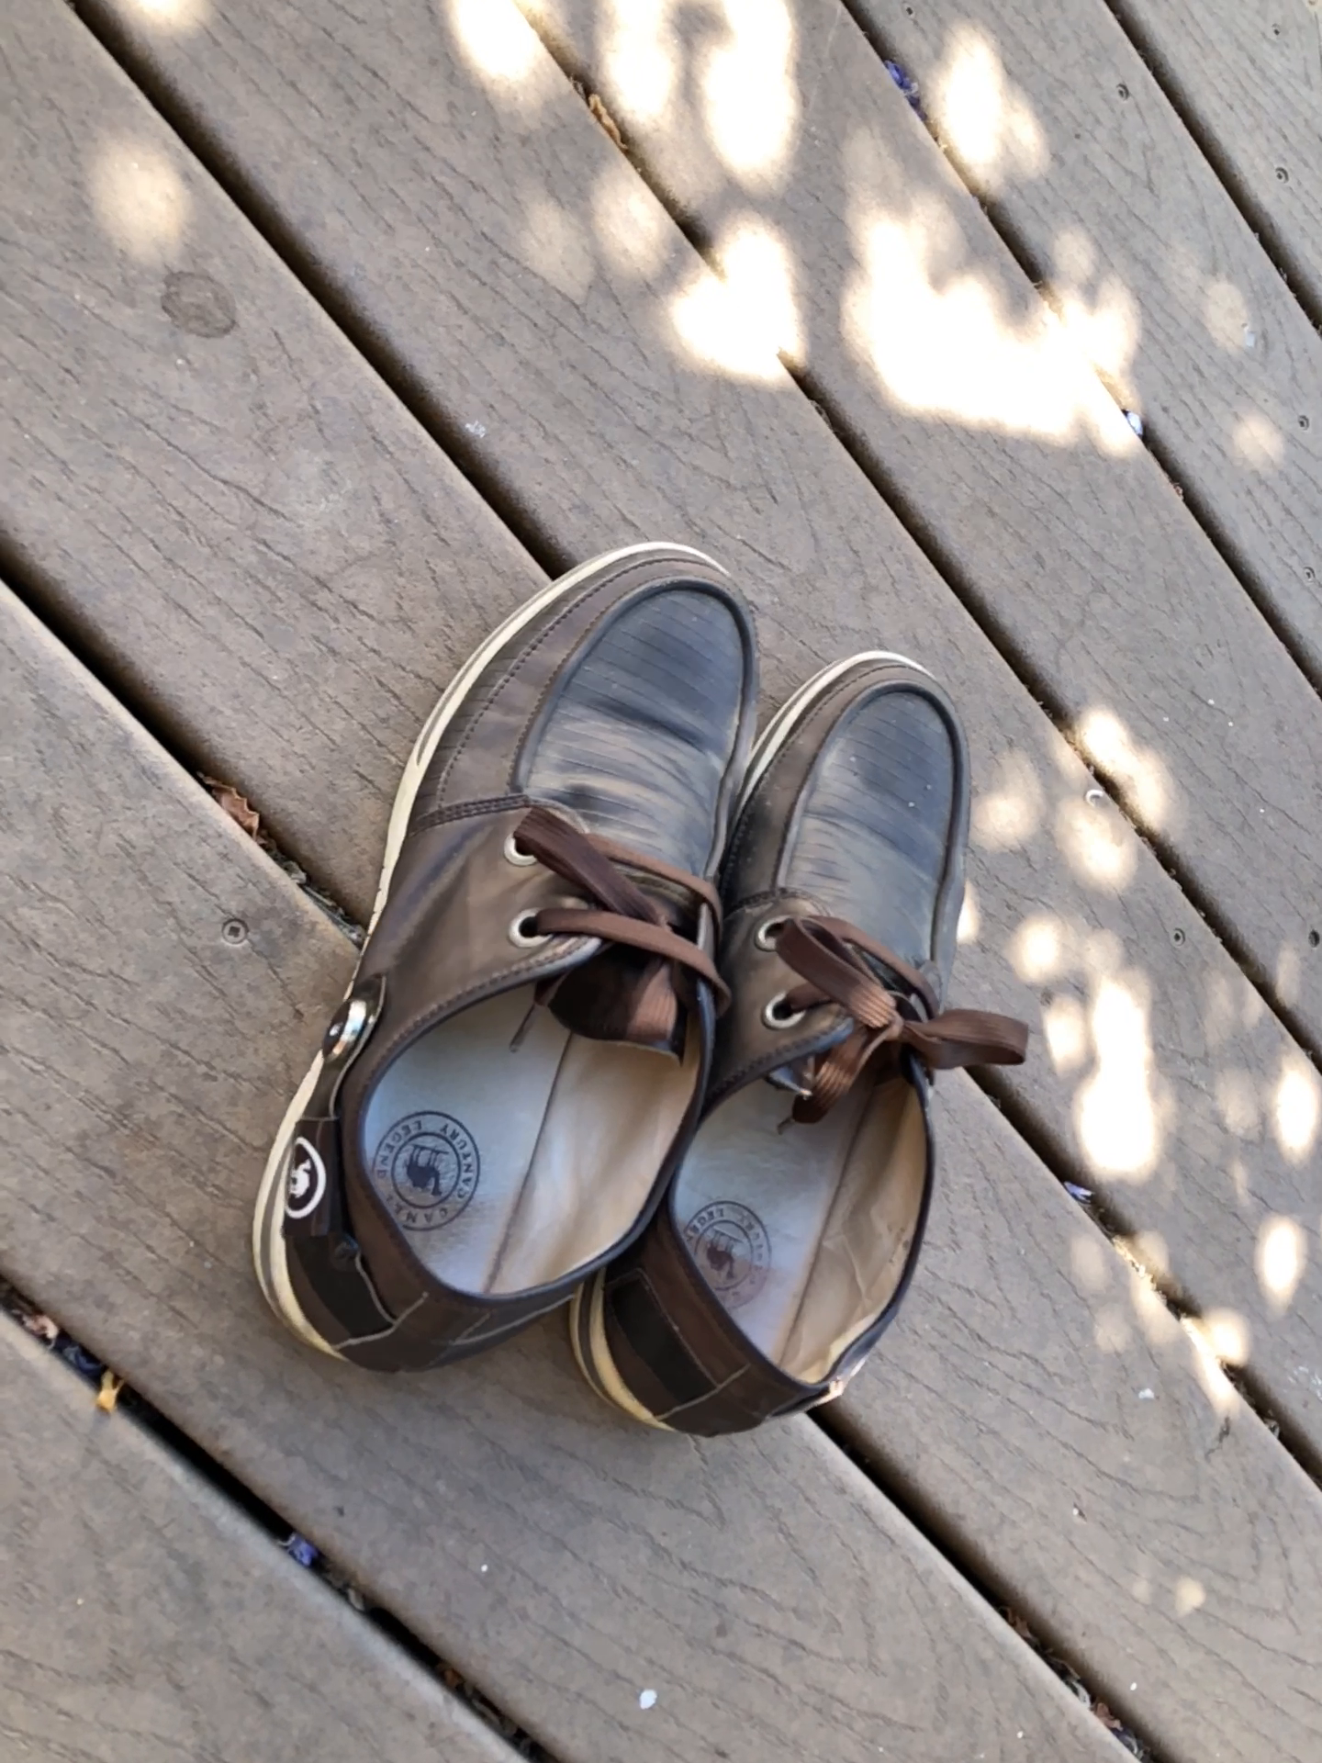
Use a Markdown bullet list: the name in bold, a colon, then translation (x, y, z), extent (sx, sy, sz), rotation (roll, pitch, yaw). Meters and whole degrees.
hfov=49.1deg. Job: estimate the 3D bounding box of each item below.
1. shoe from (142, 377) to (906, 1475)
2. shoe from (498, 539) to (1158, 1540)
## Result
- **shoe**: translation (-0.039, 0.011, 0.452), extent (0.107, 0.115, 0.288), rotation (28, 71, -24)
- **shoe**: translation (0.061, 0.048, 0.494), extent (0.107, 0.105, 0.289), rotation (27, 71, -24)
